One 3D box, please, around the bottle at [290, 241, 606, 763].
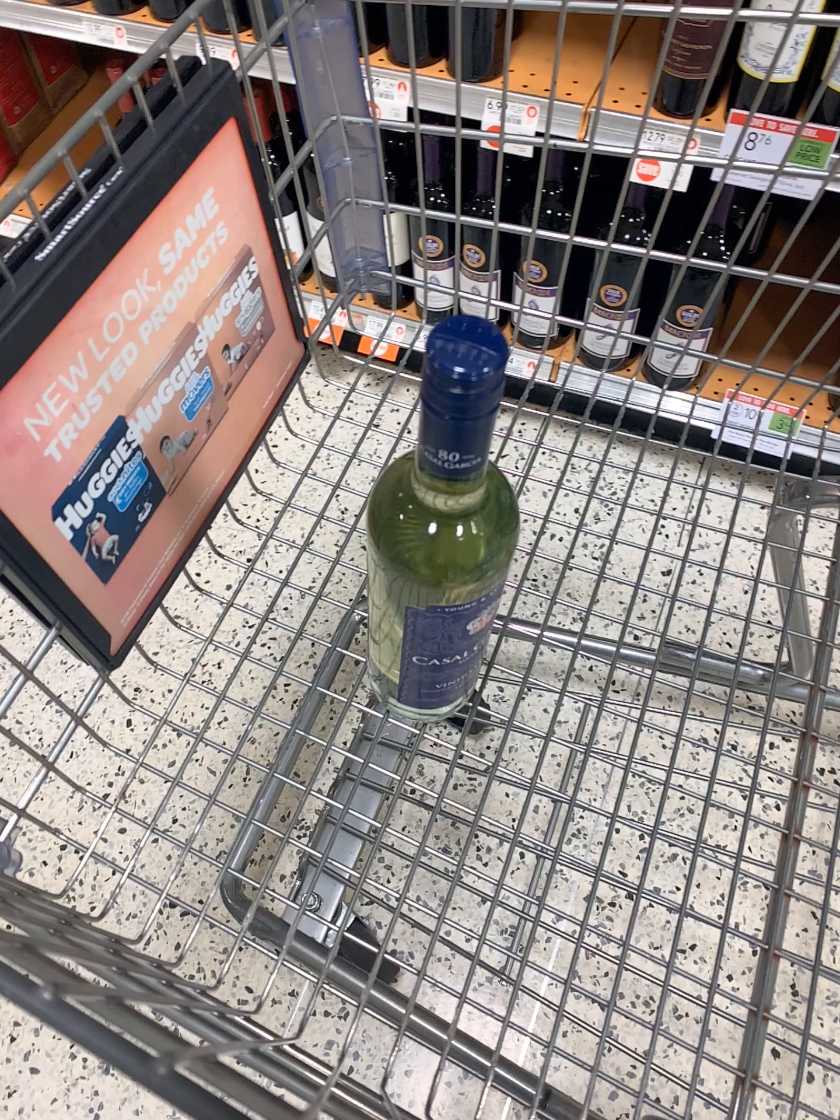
[{"bbox_3d":[0.012,-0.005,0.439,0.080,0.278,0.090,35,63,22],"label":"bottle"}]
